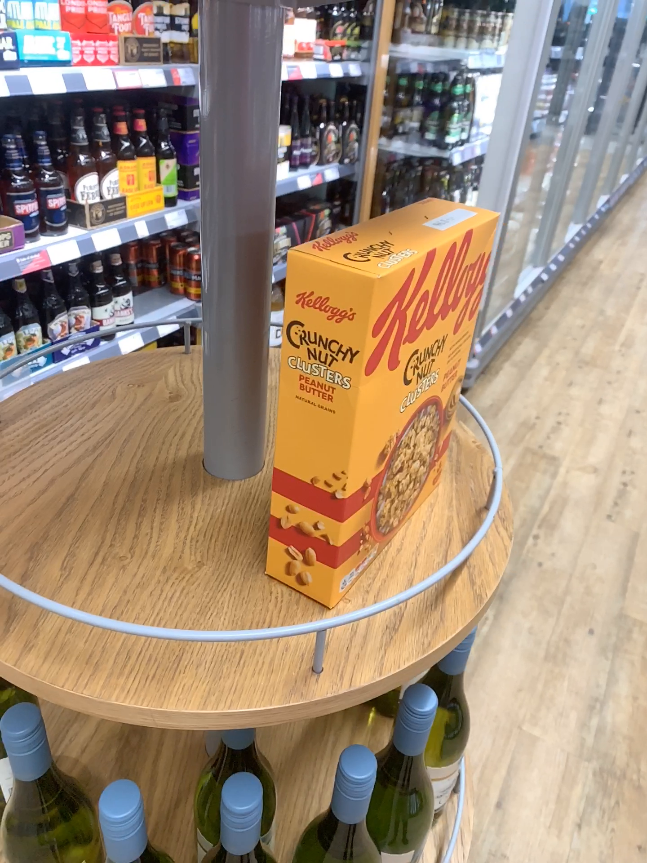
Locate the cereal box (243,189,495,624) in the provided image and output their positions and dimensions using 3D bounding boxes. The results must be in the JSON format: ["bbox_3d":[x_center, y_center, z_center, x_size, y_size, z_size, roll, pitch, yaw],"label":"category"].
[{"bbox_3d":[0.033,-0.027,0.472,0.060,0.238,0.212,21,35,23],"label":"cereal box"}]
